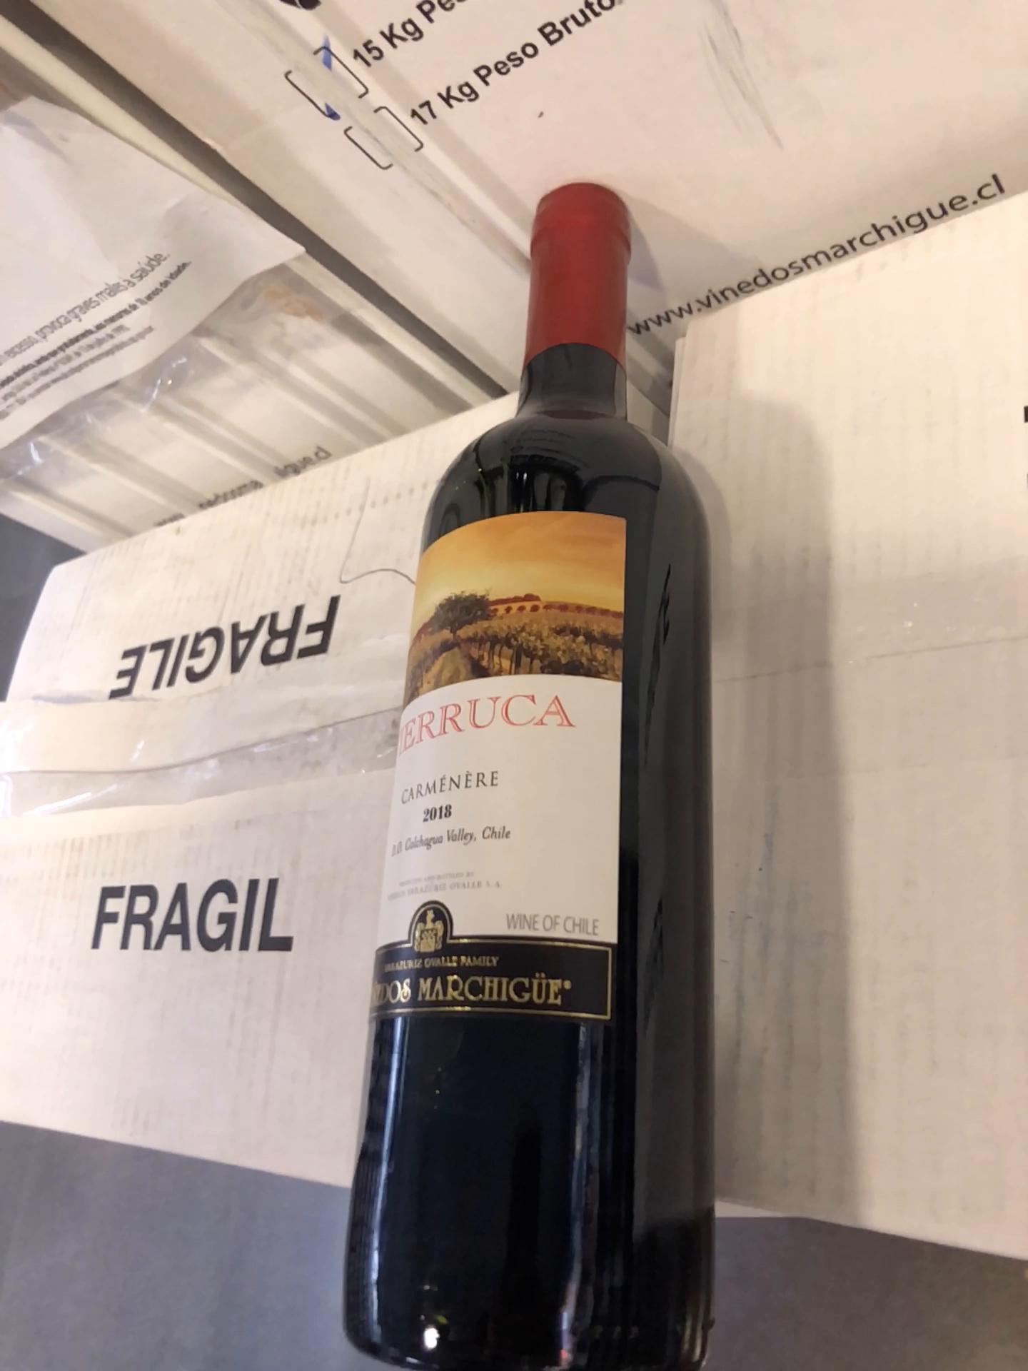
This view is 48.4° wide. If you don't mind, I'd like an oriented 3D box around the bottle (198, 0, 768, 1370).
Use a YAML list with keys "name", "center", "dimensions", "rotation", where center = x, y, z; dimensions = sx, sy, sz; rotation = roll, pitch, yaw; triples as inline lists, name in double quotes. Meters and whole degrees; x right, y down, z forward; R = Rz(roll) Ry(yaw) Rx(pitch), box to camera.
- name: "bottle"
  center: [0.006, -0.011, 0.283]
  dimensions: [0.080, 0.080, 0.320]
  rotation: [-13, 63, 37]
